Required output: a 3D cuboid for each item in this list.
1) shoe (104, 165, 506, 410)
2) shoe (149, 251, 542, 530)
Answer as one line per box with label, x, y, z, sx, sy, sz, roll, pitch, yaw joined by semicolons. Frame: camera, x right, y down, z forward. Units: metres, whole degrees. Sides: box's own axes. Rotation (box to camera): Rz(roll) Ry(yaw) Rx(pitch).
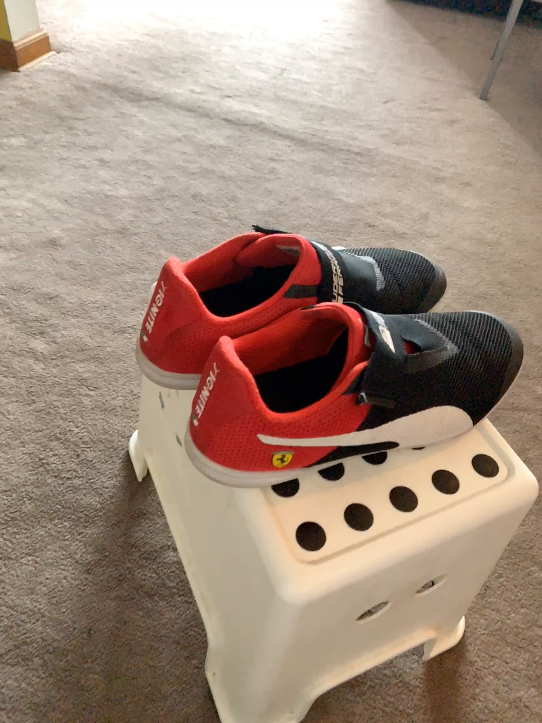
shoe;0.031;-0.074;0.465;0.301;0.089;0.111;-17;53;-23
shoe;0.074;0.009;0.411;0.301;0.089;0.101;-14;52;-21
